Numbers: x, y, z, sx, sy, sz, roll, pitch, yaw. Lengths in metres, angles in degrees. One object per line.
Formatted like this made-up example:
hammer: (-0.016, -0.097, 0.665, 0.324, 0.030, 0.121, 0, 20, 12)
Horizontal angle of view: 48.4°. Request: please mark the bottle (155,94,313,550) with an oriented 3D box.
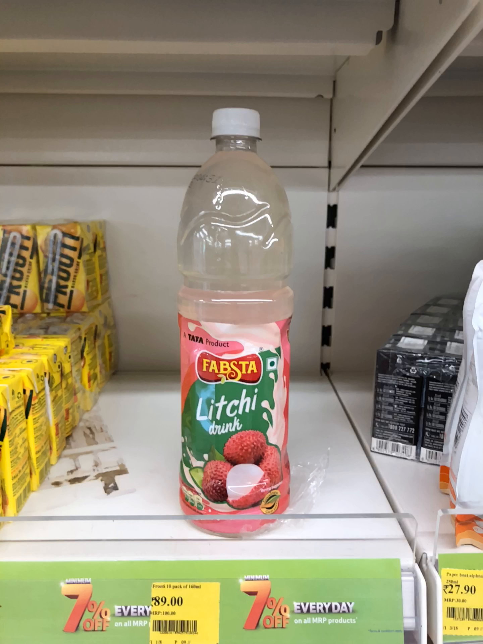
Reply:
bottle: (0.000, 0.003, 0.348, 0.080, 0.269, 0.070, 3, 14, 11)
